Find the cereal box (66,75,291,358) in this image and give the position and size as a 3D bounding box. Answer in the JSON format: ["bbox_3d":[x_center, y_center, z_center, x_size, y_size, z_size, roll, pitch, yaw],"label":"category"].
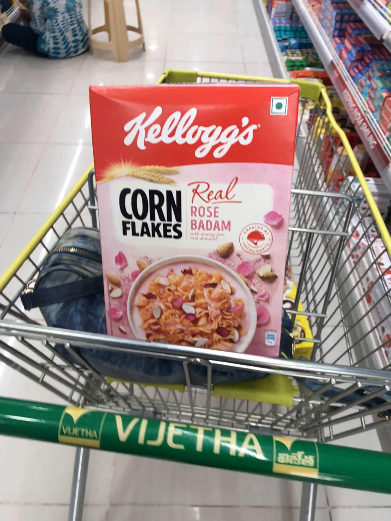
[{"bbox_3d":[-0.012,-0.040,0.453,0.190,0.279,0.070,3,26,7],"label":"cereal box"}]
